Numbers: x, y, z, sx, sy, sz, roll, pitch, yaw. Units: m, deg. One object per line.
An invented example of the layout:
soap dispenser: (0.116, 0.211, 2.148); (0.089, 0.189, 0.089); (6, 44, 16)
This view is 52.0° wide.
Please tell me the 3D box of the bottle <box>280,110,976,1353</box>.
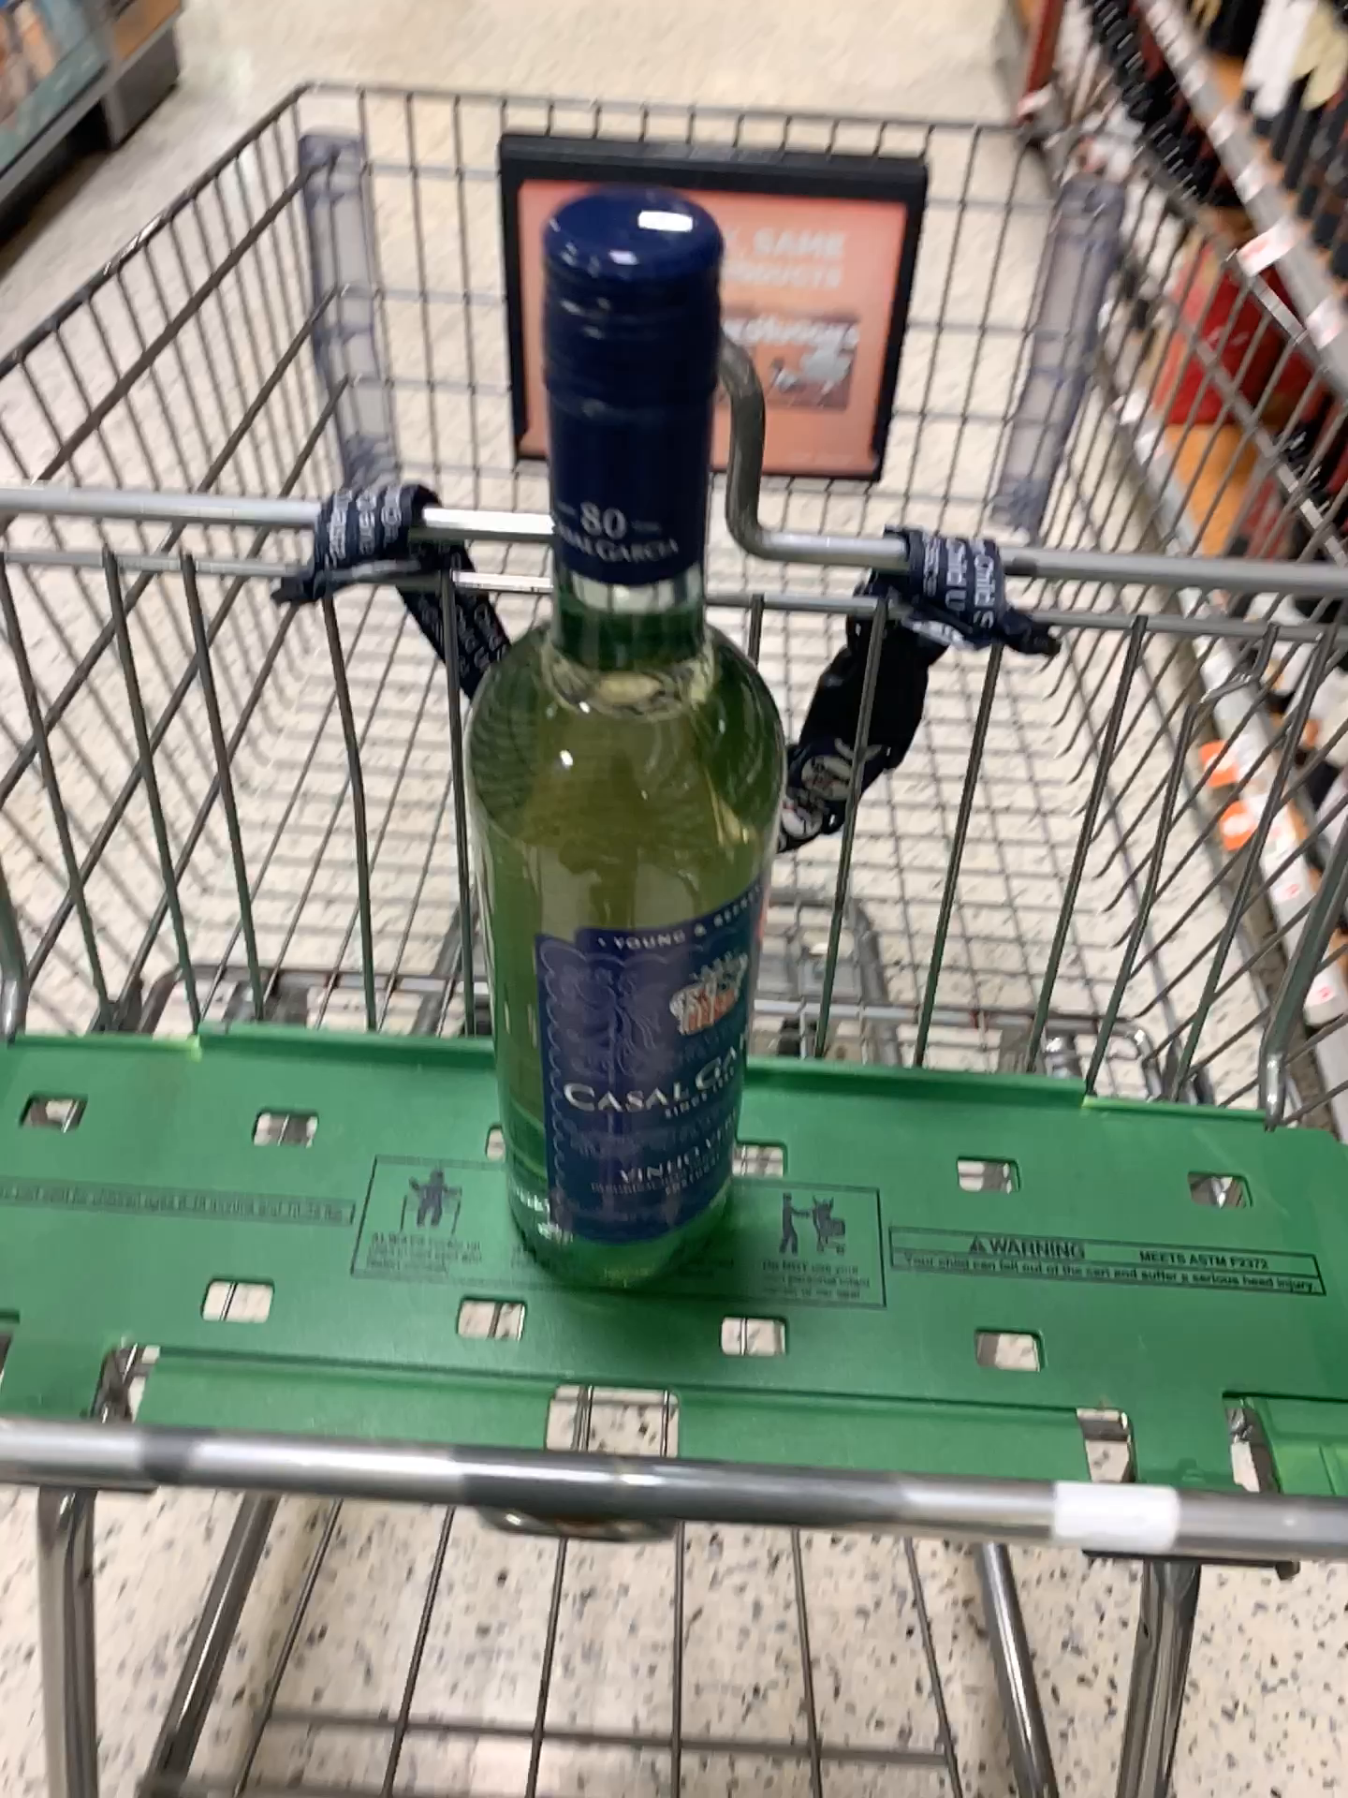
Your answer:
bottle: (-0.014, -0.008, 0.334); (0.080, 0.297, 0.080); (1, 48, -2)
